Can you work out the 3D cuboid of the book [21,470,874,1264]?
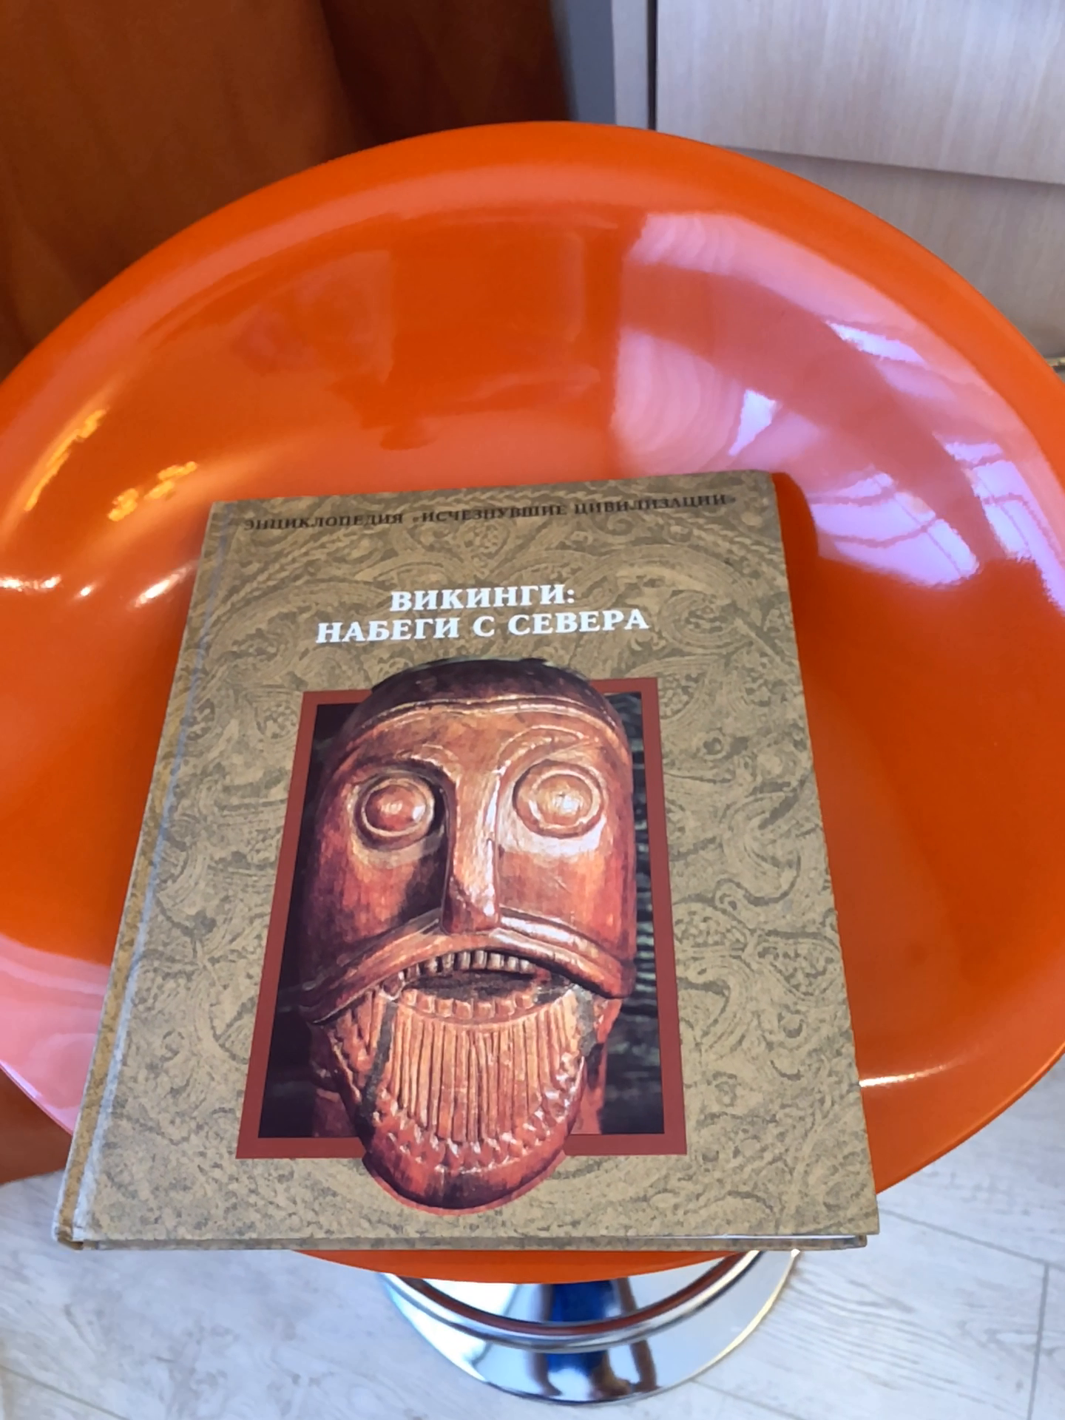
[{"bbox_3d":[-0.020,0.031,0.376,0.215,0.022,0.261,-2,56,5],"label":"book"}]
